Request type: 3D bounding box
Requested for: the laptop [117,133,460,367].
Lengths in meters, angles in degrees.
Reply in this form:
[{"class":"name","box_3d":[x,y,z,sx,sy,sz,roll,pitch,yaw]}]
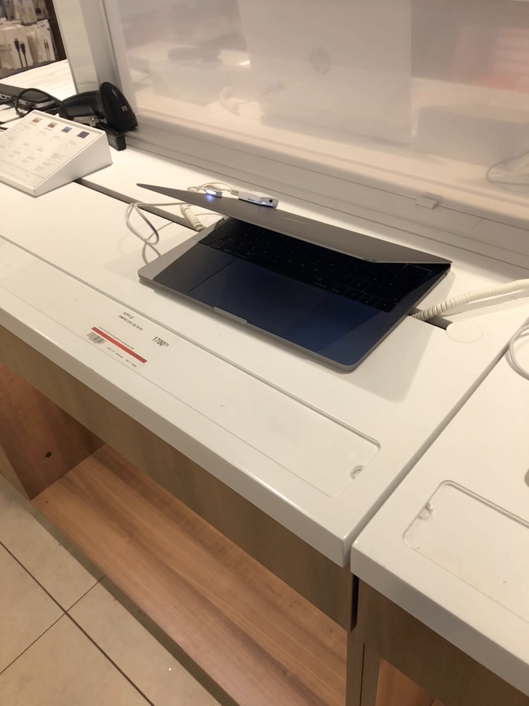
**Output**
[{"class":"laptop","box_3d":[0.023,-0.135,0.647,0.305,0.104,0.201,25,48,31]}]
